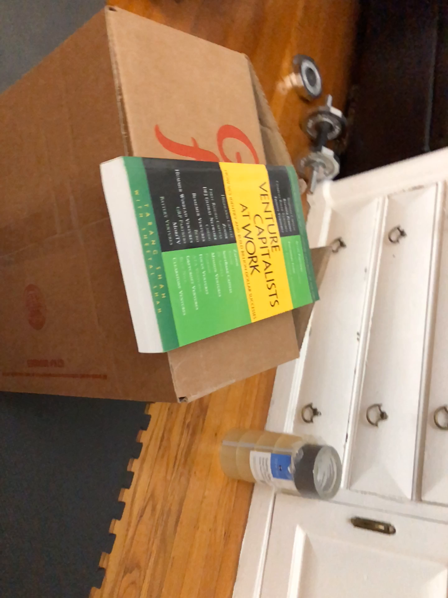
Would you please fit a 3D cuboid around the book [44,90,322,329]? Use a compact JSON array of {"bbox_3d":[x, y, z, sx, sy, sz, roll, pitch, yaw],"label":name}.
[{"bbox_3d":[-0.012,-0.082,0.441,0.261,0.040,0.160,-15,94,-47],"label":"book"}]
